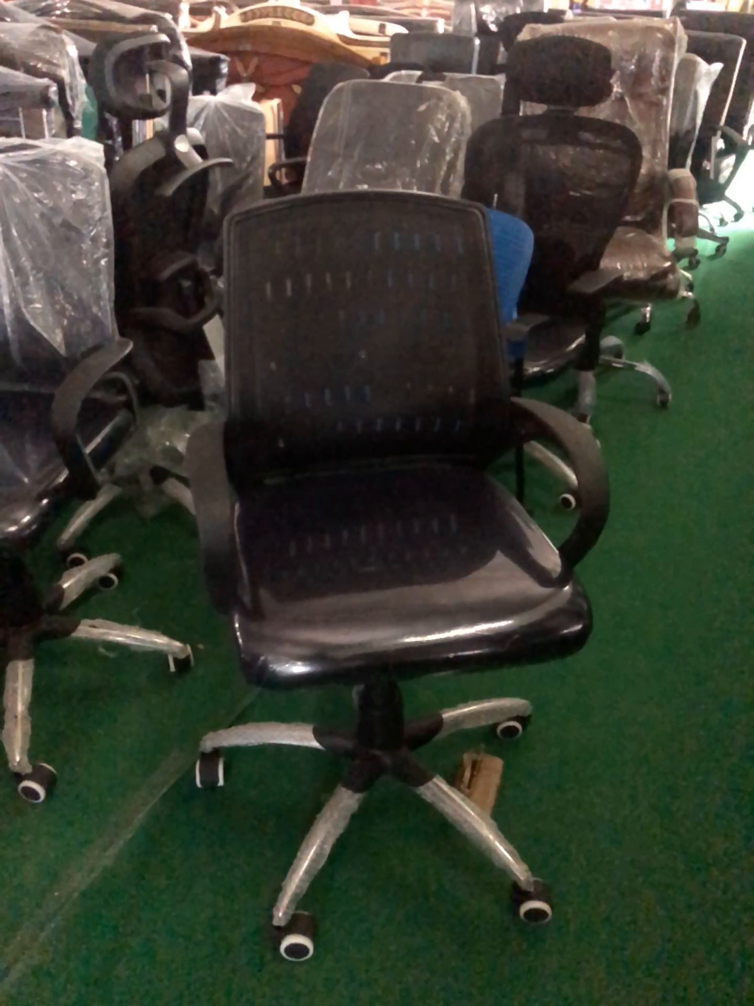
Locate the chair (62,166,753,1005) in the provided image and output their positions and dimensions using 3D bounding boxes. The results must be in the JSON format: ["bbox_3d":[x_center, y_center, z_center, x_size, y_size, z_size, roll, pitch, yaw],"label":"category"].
[{"bbox_3d":[0.005,0.055,1.363,0.731,0.995,0.874,-5,31,-11],"label":"chair"}]
